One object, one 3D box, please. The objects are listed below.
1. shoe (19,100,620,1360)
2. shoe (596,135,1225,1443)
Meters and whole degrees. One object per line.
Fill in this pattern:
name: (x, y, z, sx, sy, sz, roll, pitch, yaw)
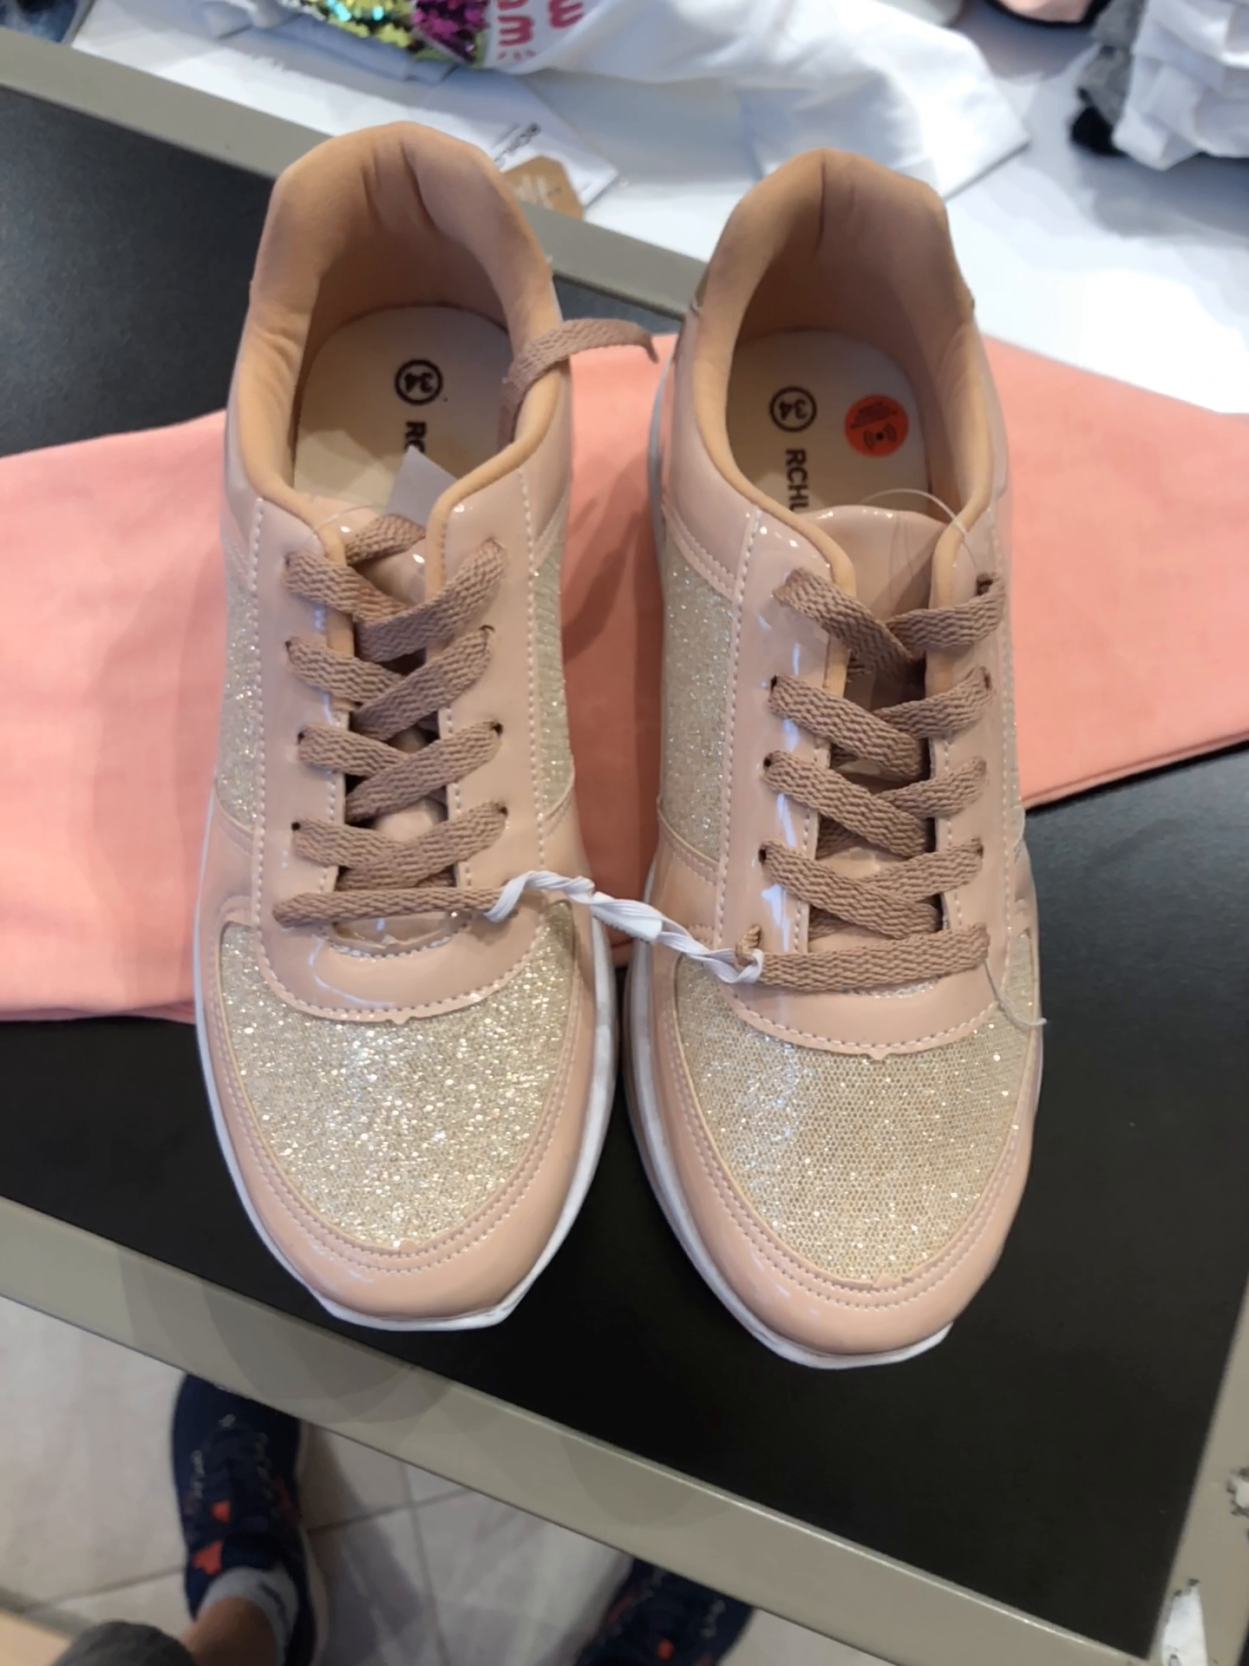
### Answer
shoe: (-0.048, -0.017, 0.284, 0.090, 0.100, 0.220, -1, 77, 0)
shoe: (0.042, -0.009, 0.273, 0.090, 0.090, 0.220, -1, 77, 0)
